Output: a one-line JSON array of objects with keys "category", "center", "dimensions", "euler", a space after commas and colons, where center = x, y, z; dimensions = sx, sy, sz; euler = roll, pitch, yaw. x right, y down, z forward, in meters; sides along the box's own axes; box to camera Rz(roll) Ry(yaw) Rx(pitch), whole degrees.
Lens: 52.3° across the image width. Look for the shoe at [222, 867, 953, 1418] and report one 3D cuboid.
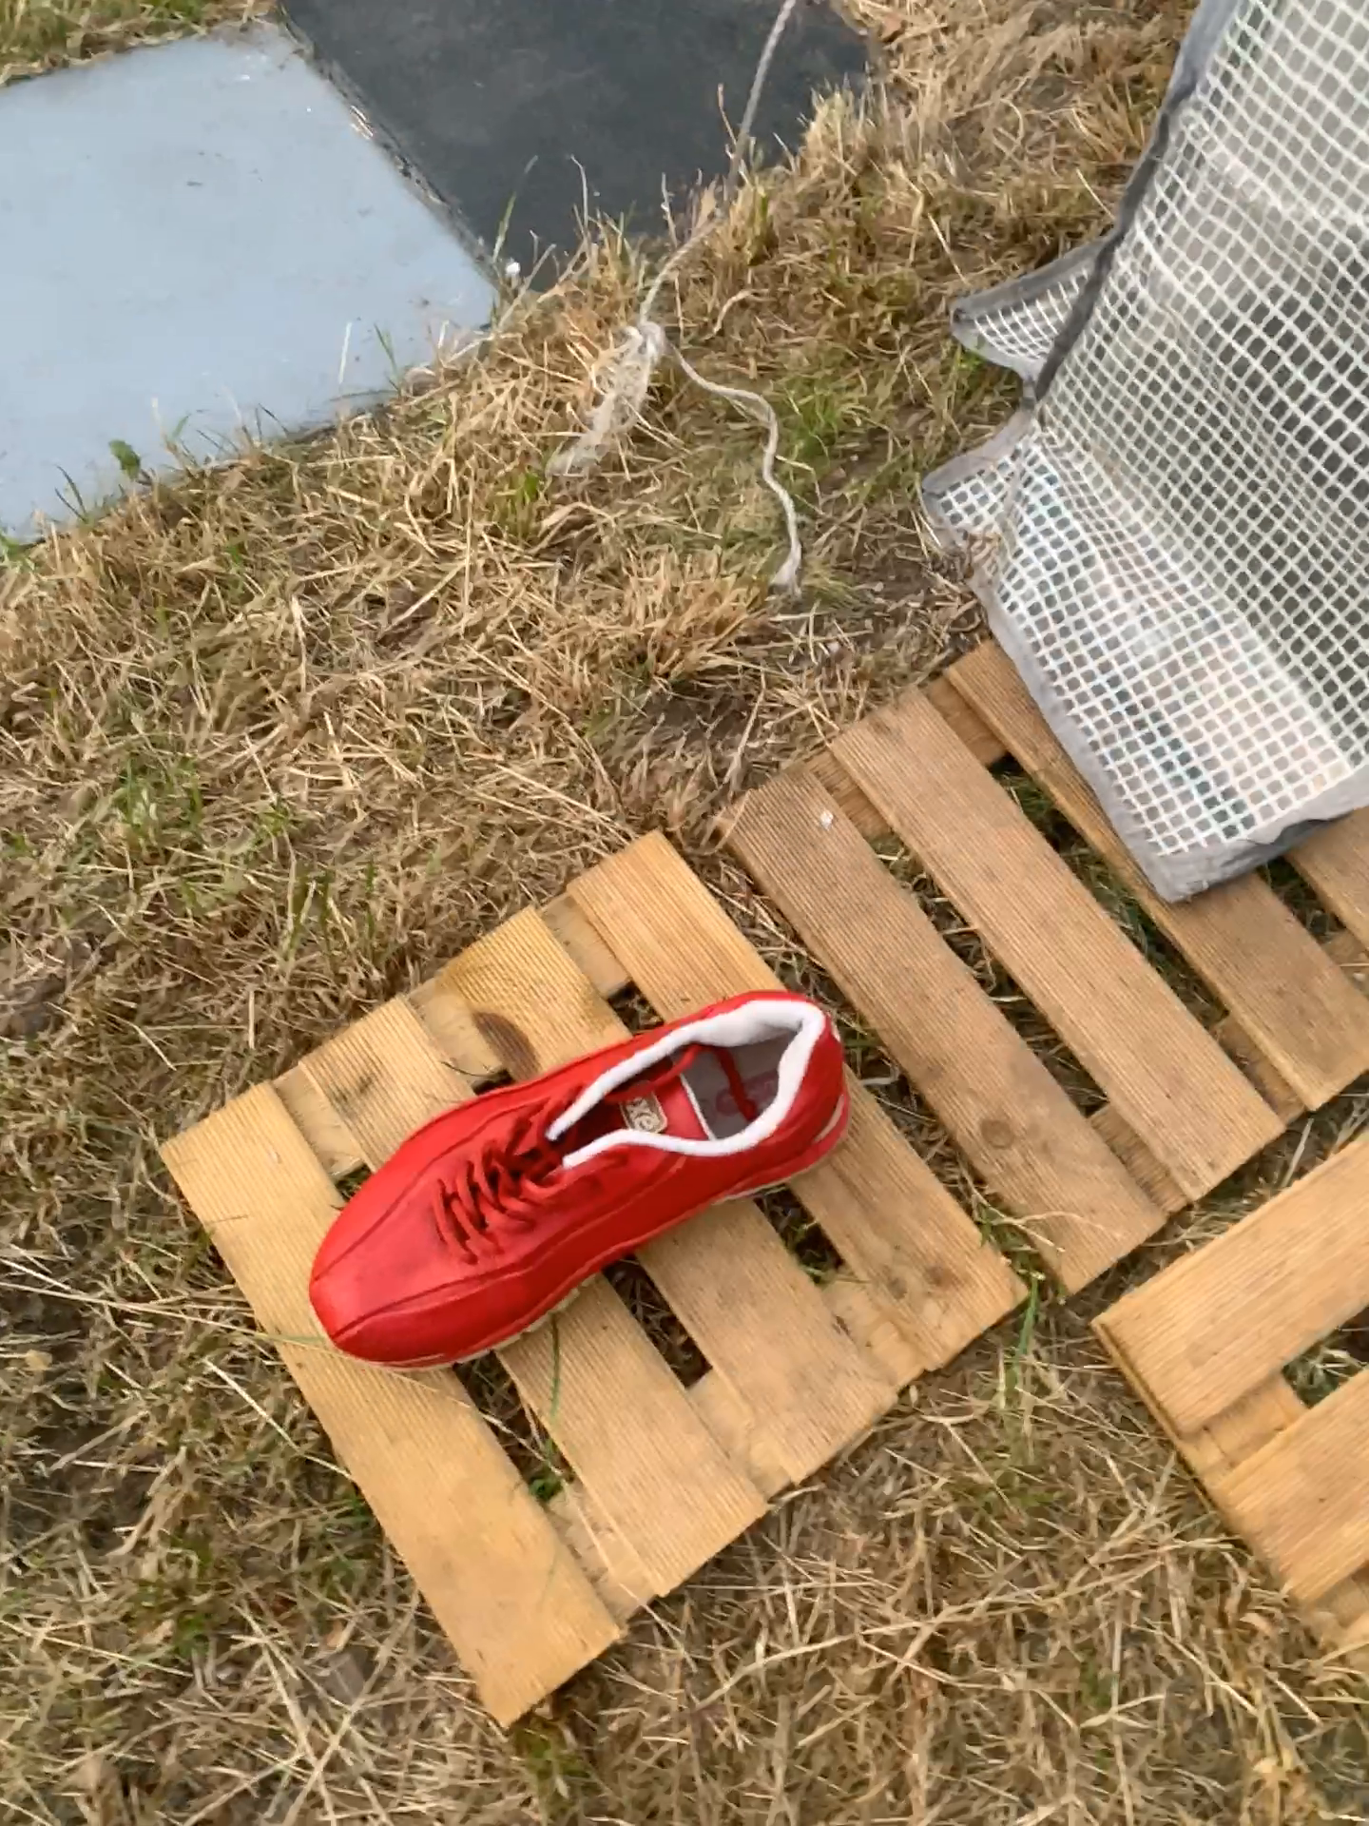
[{"category": "shoe", "center": [-0.040, 0.102, 0.622], "dimensions": [0.280, 0.129, 0.100], "euler": [-24, 69, -17]}]
